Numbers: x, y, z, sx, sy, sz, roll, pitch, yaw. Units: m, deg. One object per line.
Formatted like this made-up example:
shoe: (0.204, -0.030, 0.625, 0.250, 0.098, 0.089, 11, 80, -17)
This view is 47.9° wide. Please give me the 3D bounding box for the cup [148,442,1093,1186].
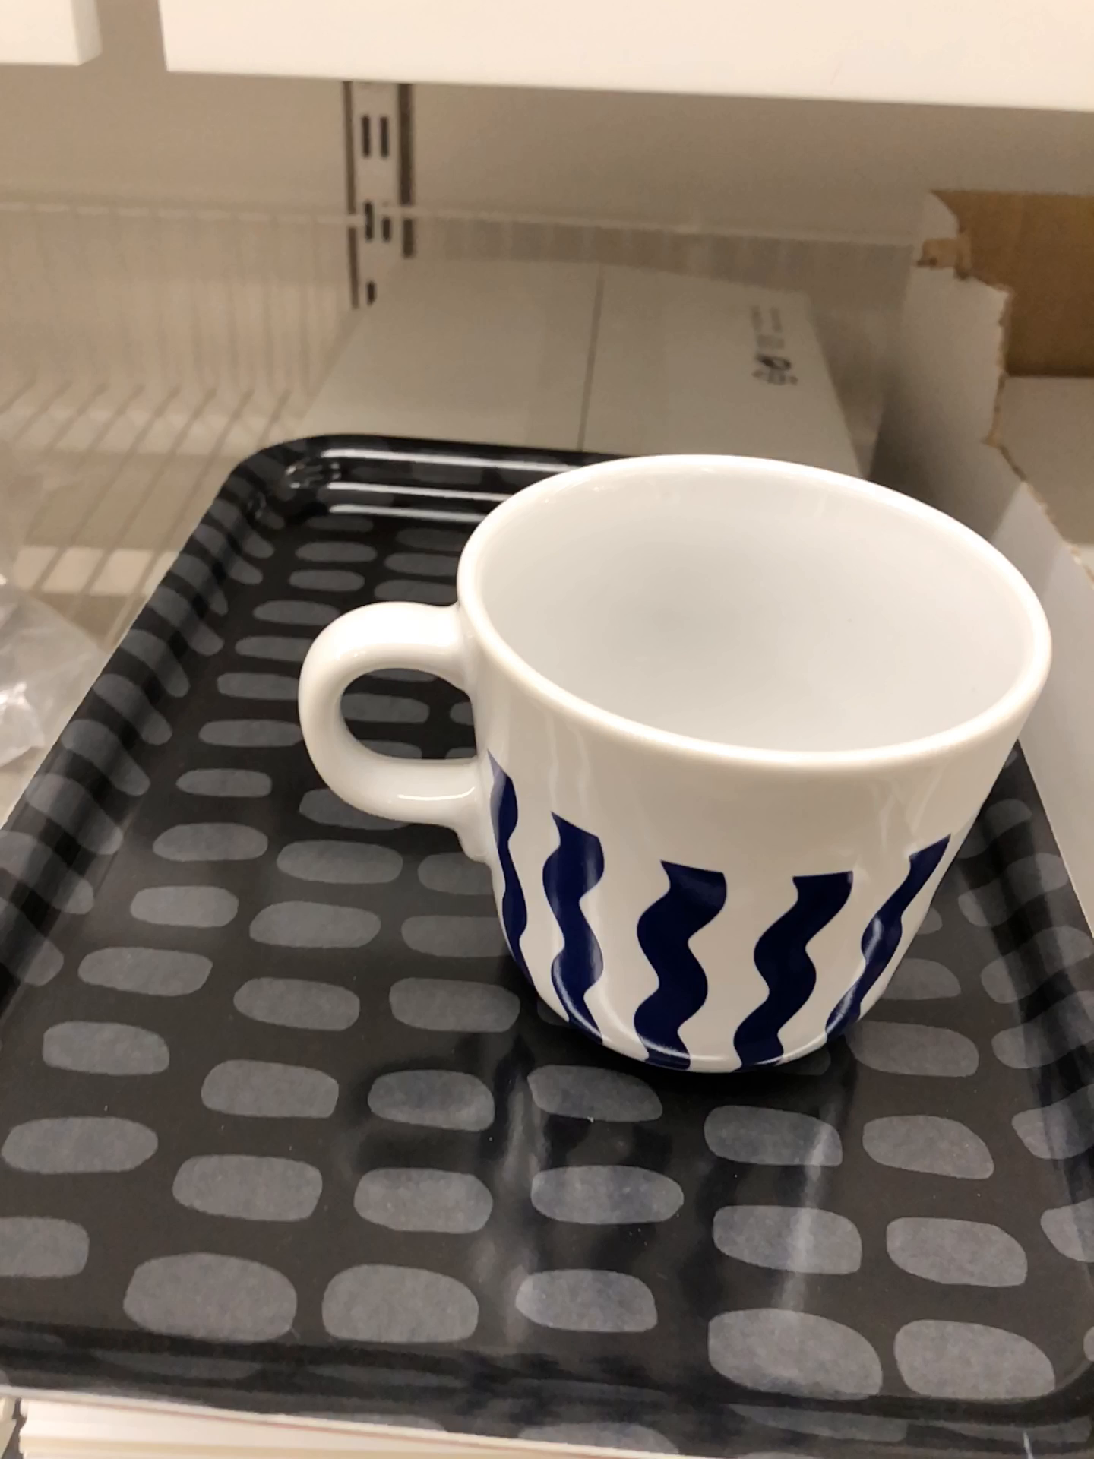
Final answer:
cup: (0.011, 0.009, 0.201, 0.120, 0.080, 0.090, 0, 34, -4)
